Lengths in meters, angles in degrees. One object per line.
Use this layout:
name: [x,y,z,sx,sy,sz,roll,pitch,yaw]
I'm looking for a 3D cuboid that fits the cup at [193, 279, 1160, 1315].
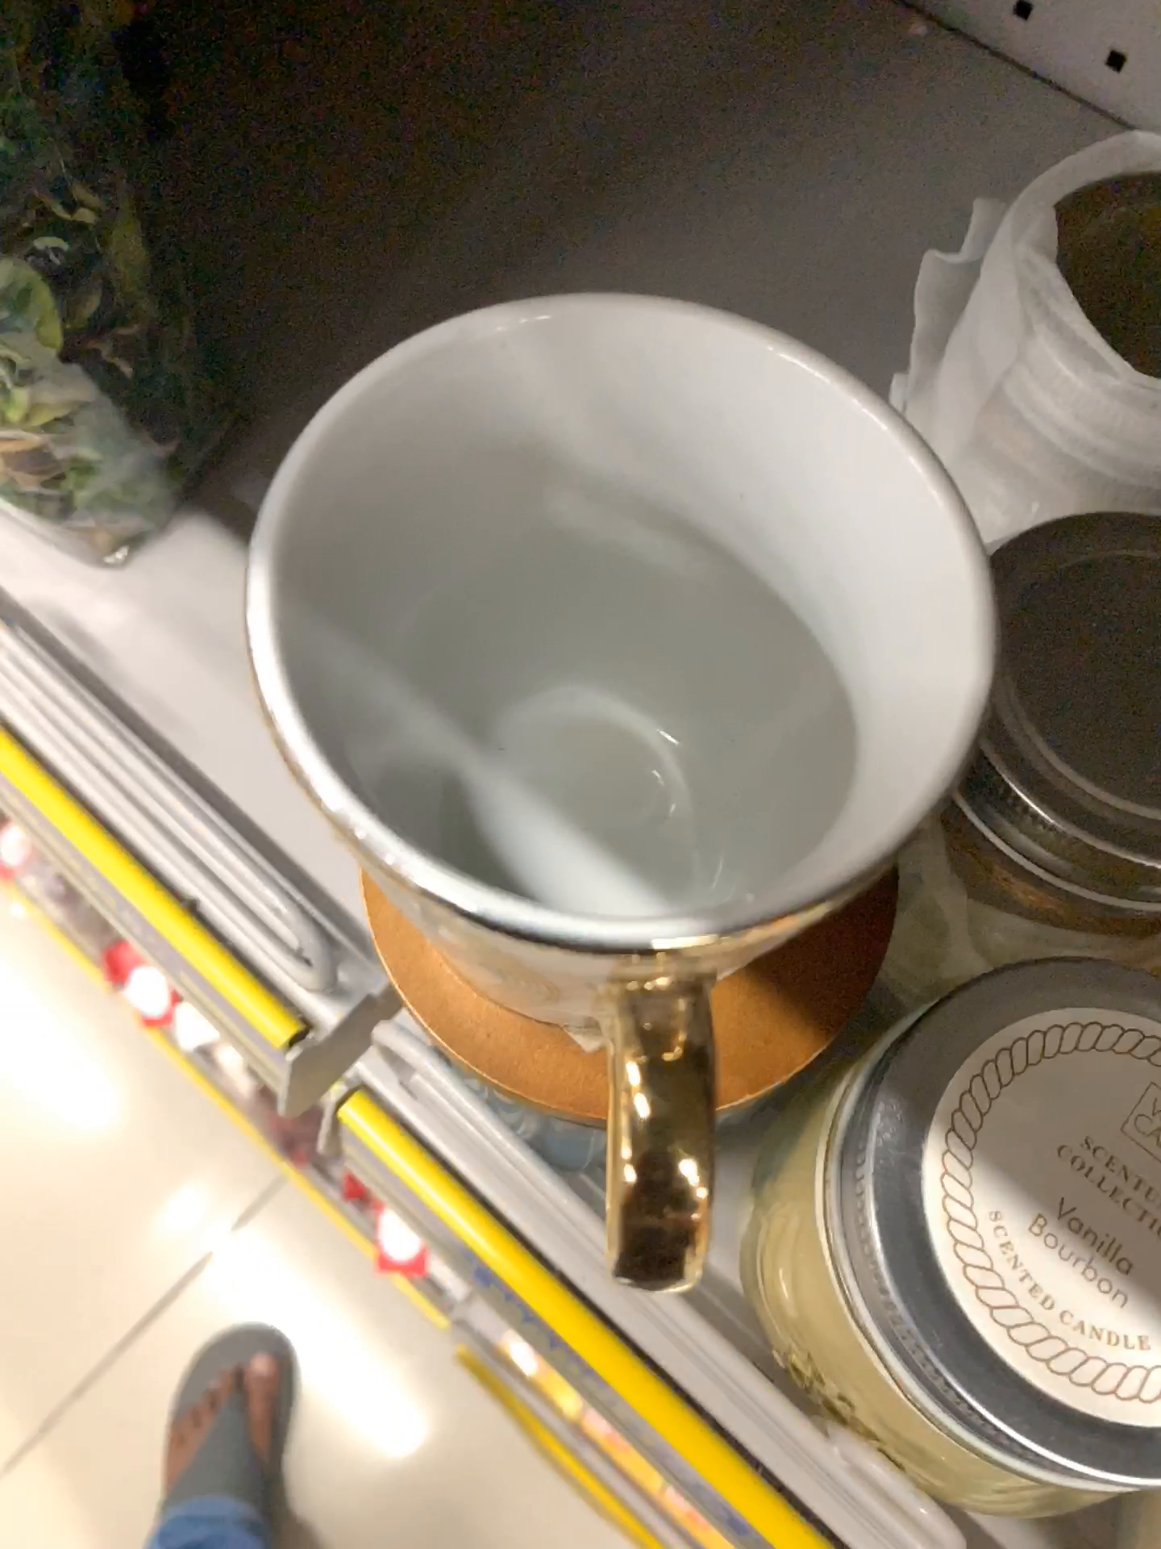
cup: [0.005,0.009,0.139,0.070,0.080,0.090,-4,65,-2]
